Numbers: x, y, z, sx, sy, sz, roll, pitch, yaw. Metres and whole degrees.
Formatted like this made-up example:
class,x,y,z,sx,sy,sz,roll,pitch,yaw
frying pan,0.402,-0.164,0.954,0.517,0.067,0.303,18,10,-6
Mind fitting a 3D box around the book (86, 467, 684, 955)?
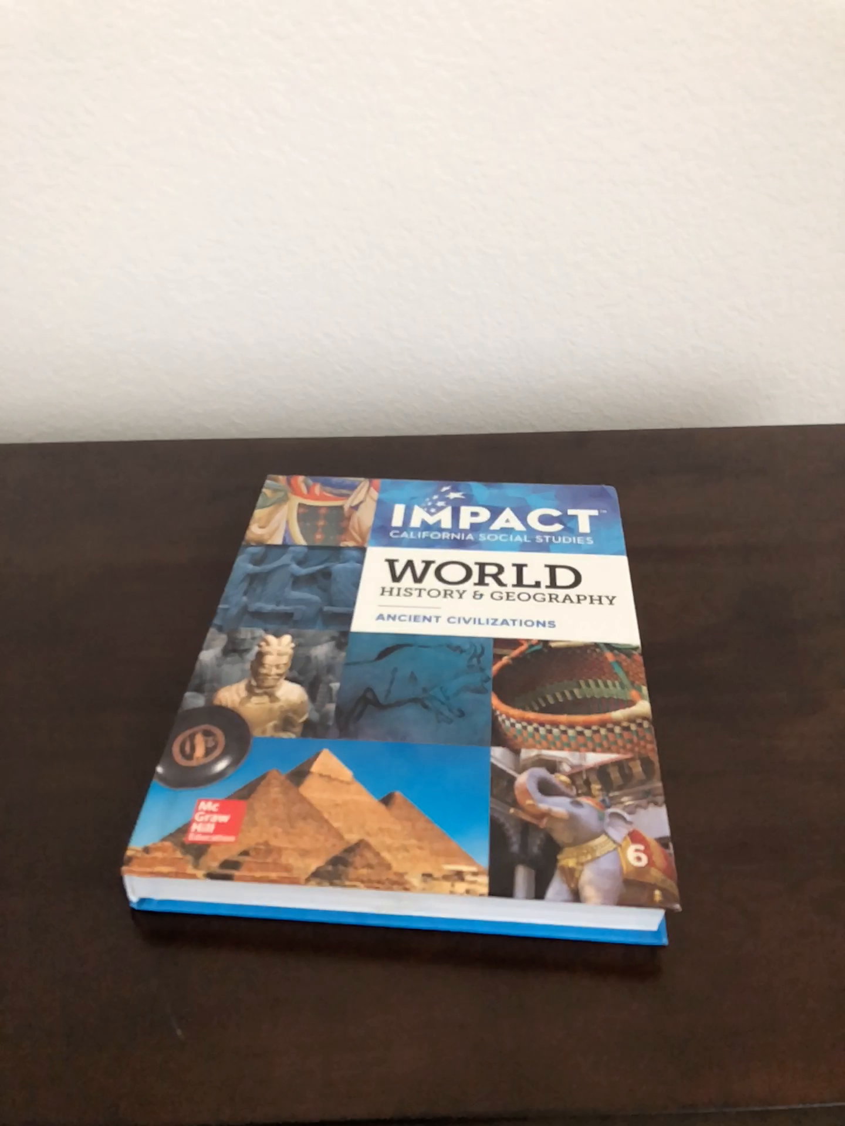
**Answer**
class,x,y,z,sx,sy,sz,roll,pitch,yaw
book,-0.005,0.046,0.470,0.227,0.030,0.286,3,39,4
